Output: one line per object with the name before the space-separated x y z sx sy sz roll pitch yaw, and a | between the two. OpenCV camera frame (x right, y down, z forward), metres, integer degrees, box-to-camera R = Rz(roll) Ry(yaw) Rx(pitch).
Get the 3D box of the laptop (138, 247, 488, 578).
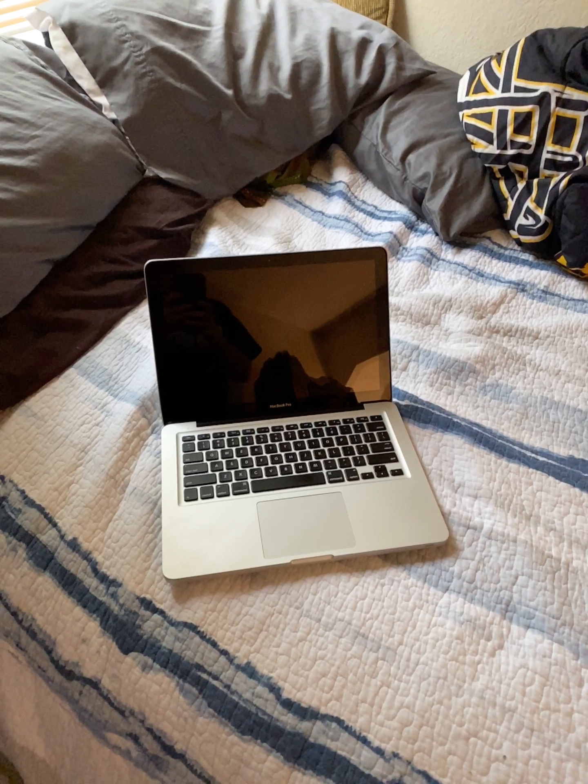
laptop | -0.008 0.001 0.716 0.320 0.165 0.347 -6 46 -9
